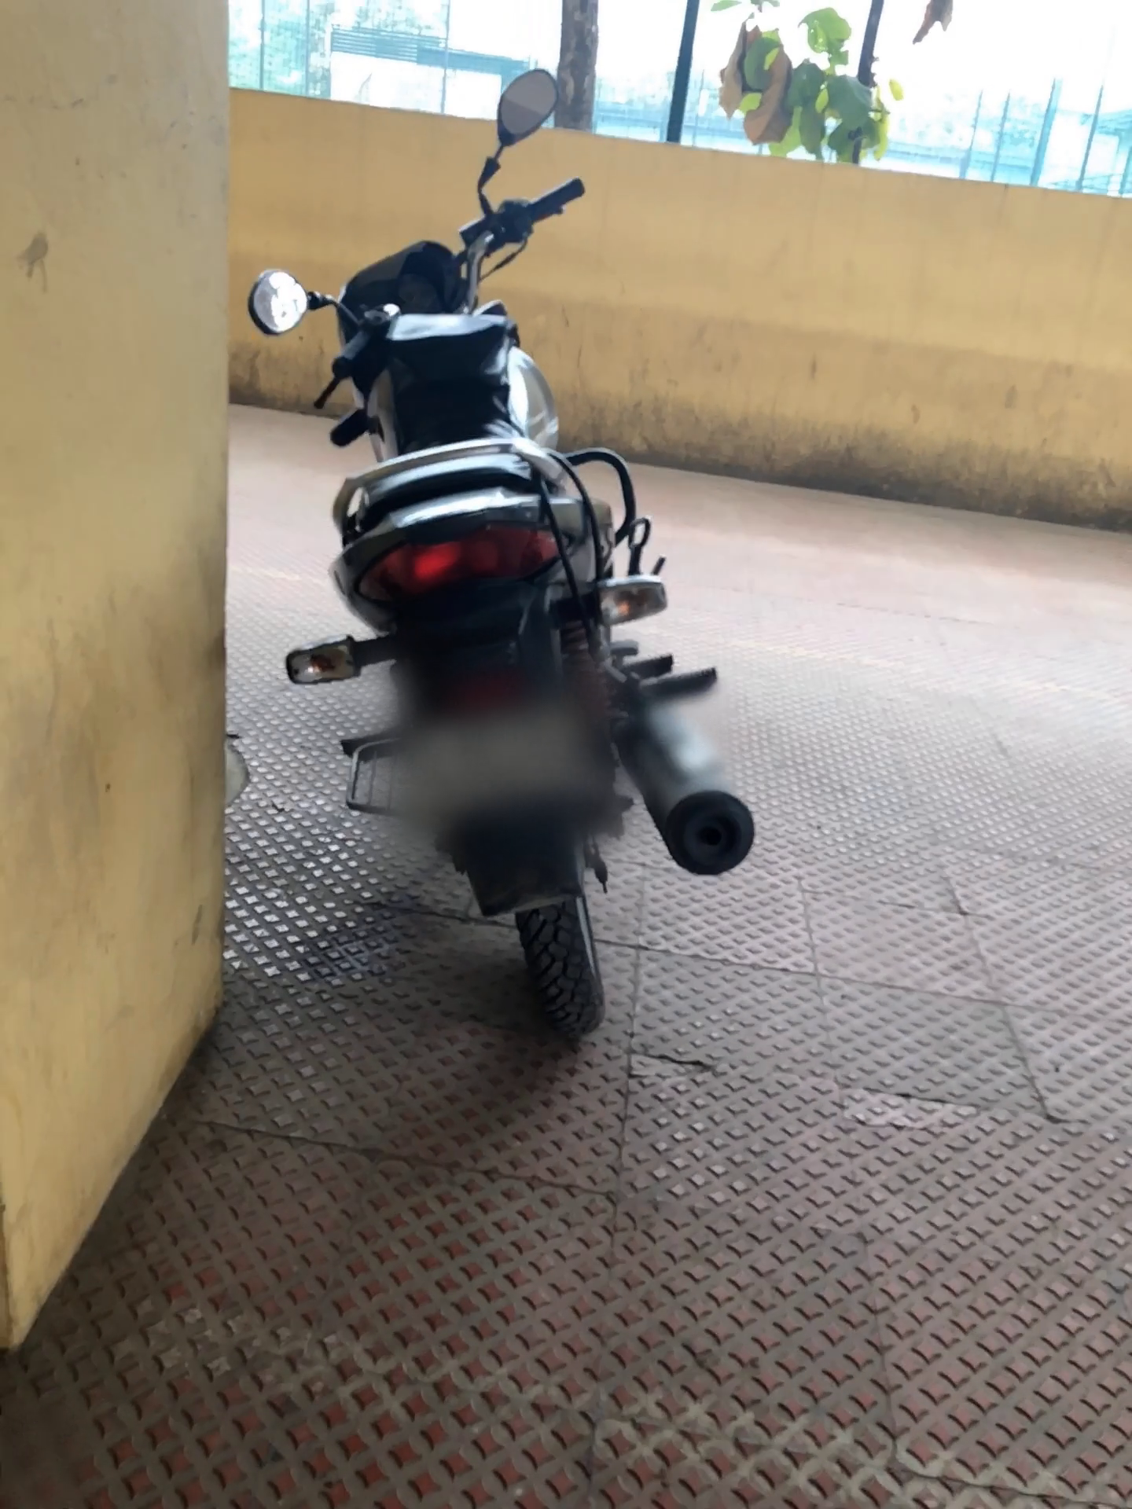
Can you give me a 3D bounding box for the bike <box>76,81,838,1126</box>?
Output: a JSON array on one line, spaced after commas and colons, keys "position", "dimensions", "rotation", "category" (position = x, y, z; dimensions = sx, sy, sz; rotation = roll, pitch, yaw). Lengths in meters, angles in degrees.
[{"position": [-0.292, -0.369, 2.044], "dimensions": [0.720, 1.166, 1.476], "rotation": [2, 24, -11], "category": "bike"}]
